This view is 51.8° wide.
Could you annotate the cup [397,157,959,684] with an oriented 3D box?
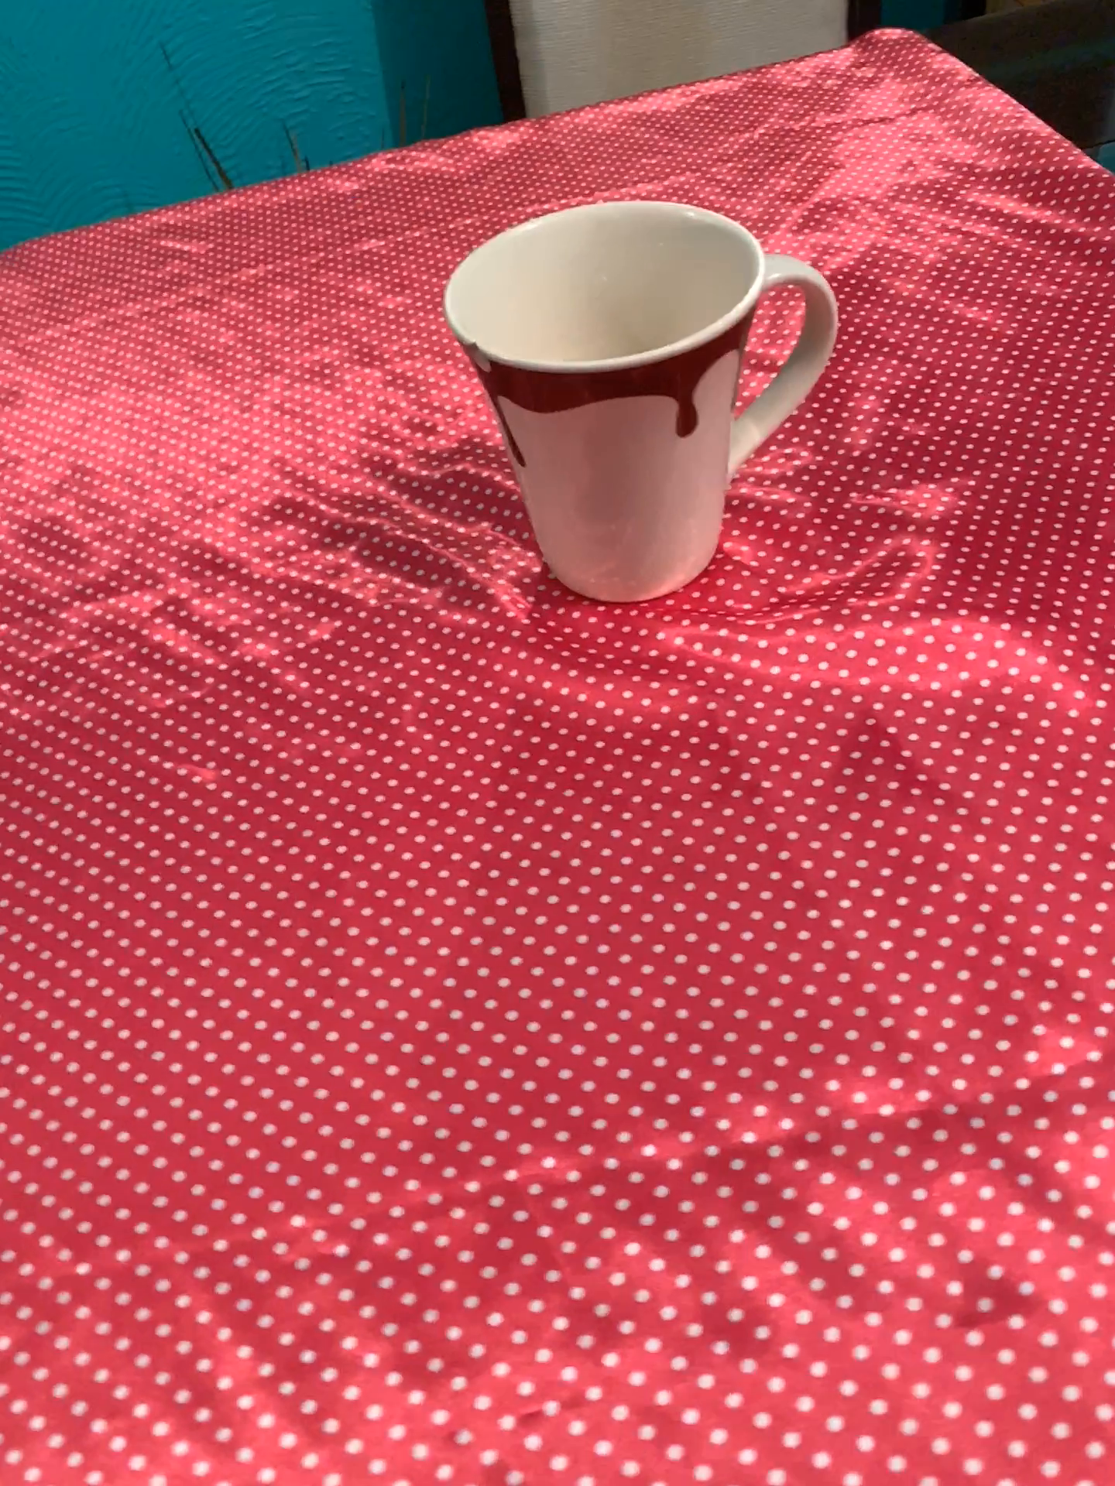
[{"bbox_3d":[0.036,-0.106,0.366,0.130,0.090,0.100,-24,49,-11],"label":"cup"}]
